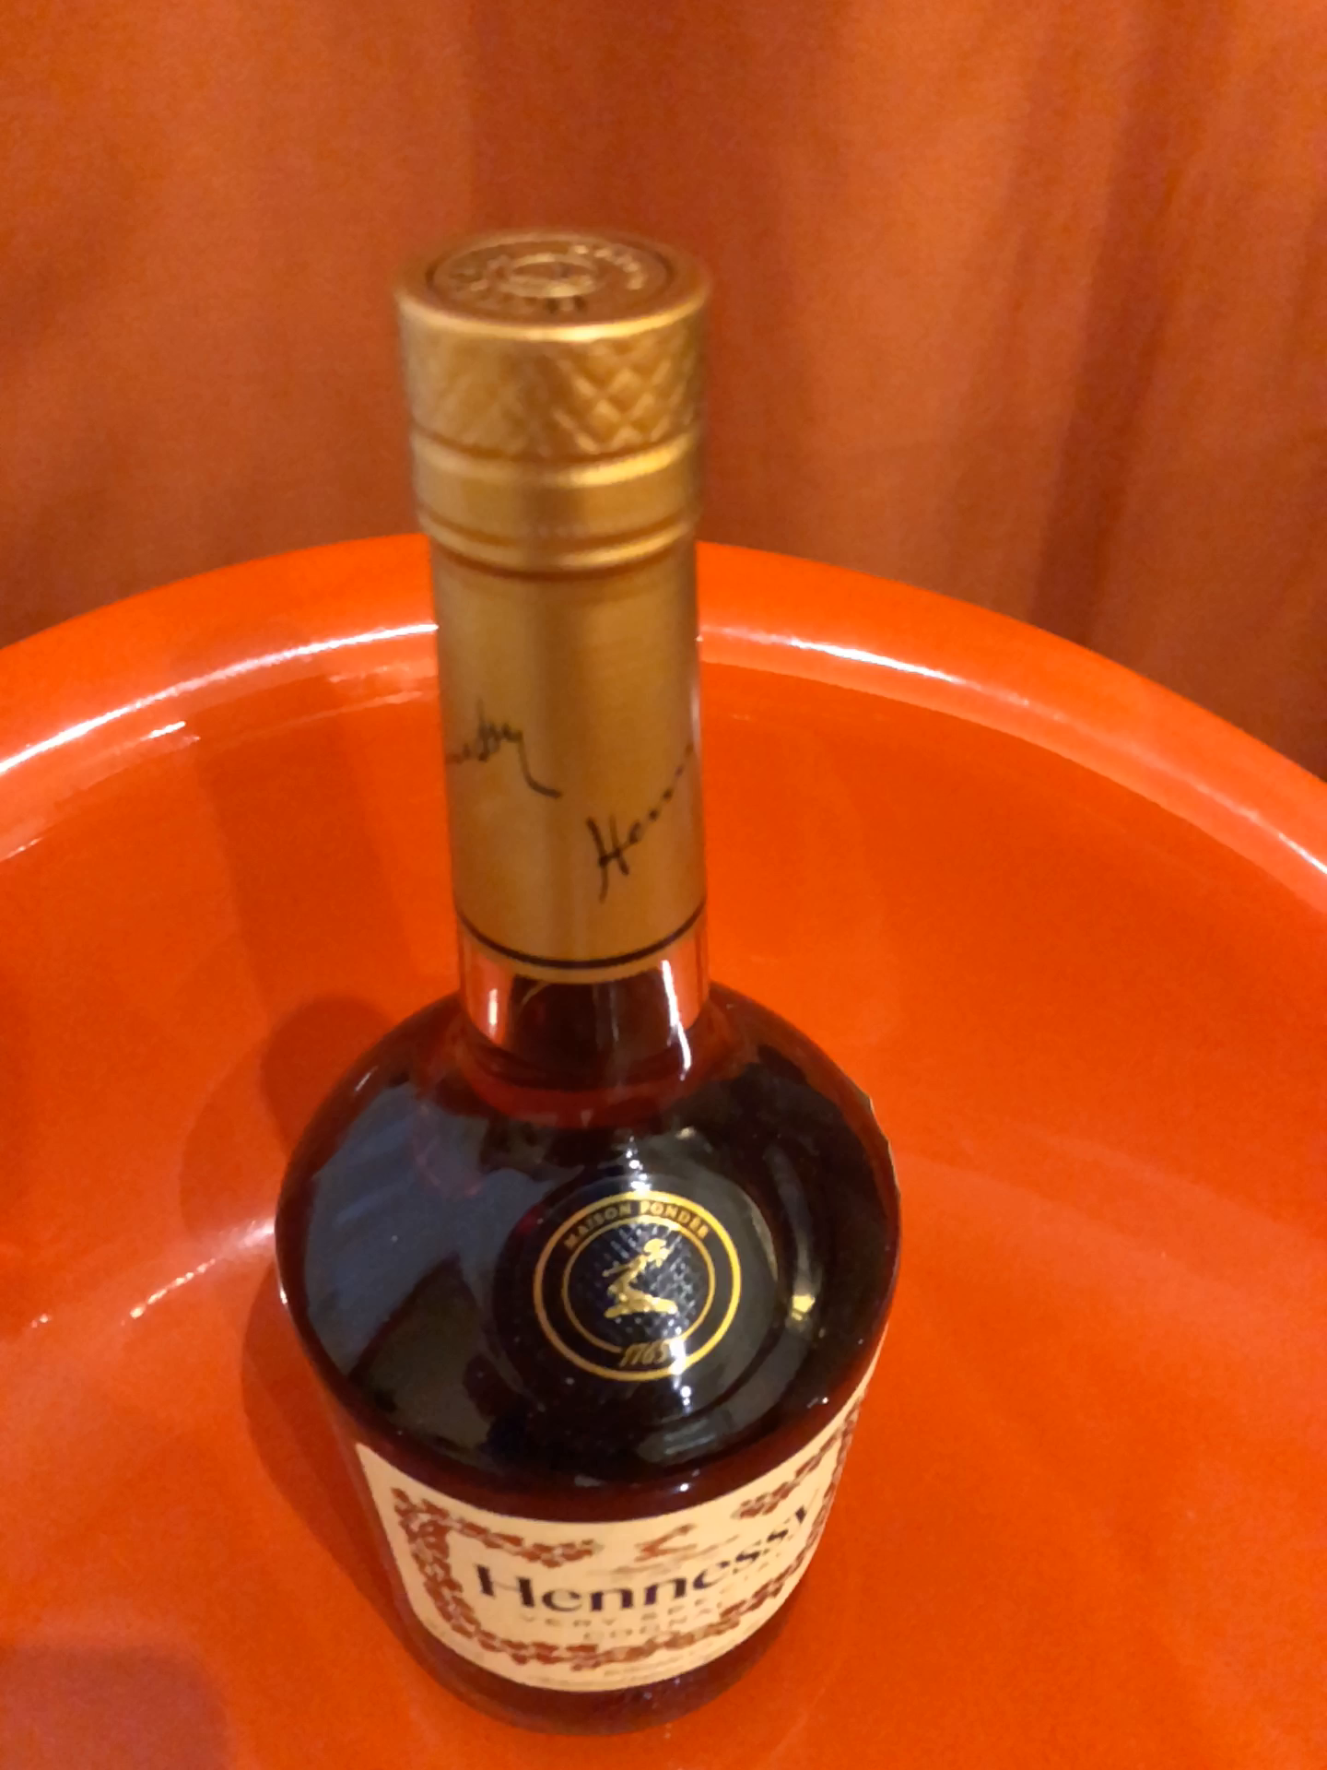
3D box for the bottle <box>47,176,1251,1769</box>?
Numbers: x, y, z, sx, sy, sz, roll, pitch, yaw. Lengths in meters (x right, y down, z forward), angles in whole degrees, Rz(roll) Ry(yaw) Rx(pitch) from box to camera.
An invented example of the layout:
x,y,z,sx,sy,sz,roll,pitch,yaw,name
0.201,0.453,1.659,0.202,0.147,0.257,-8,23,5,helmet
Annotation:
x,y,z,sx,sy,sz,roll,pitch,yaw,name
-0.006,0.033,0.198,0.079,0.219,0.080,1,42,-1,bottle
